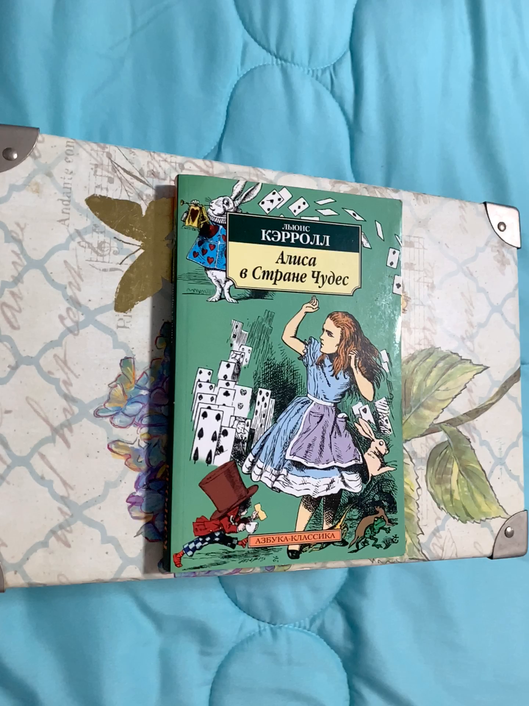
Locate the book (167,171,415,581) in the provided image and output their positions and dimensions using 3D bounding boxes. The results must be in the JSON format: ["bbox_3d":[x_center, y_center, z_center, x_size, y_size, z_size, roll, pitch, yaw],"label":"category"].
[{"bbox_3d":[0.014,0.009,0.265,0.118,0.018,0.179,1,85,-18],"label":"book"}]
